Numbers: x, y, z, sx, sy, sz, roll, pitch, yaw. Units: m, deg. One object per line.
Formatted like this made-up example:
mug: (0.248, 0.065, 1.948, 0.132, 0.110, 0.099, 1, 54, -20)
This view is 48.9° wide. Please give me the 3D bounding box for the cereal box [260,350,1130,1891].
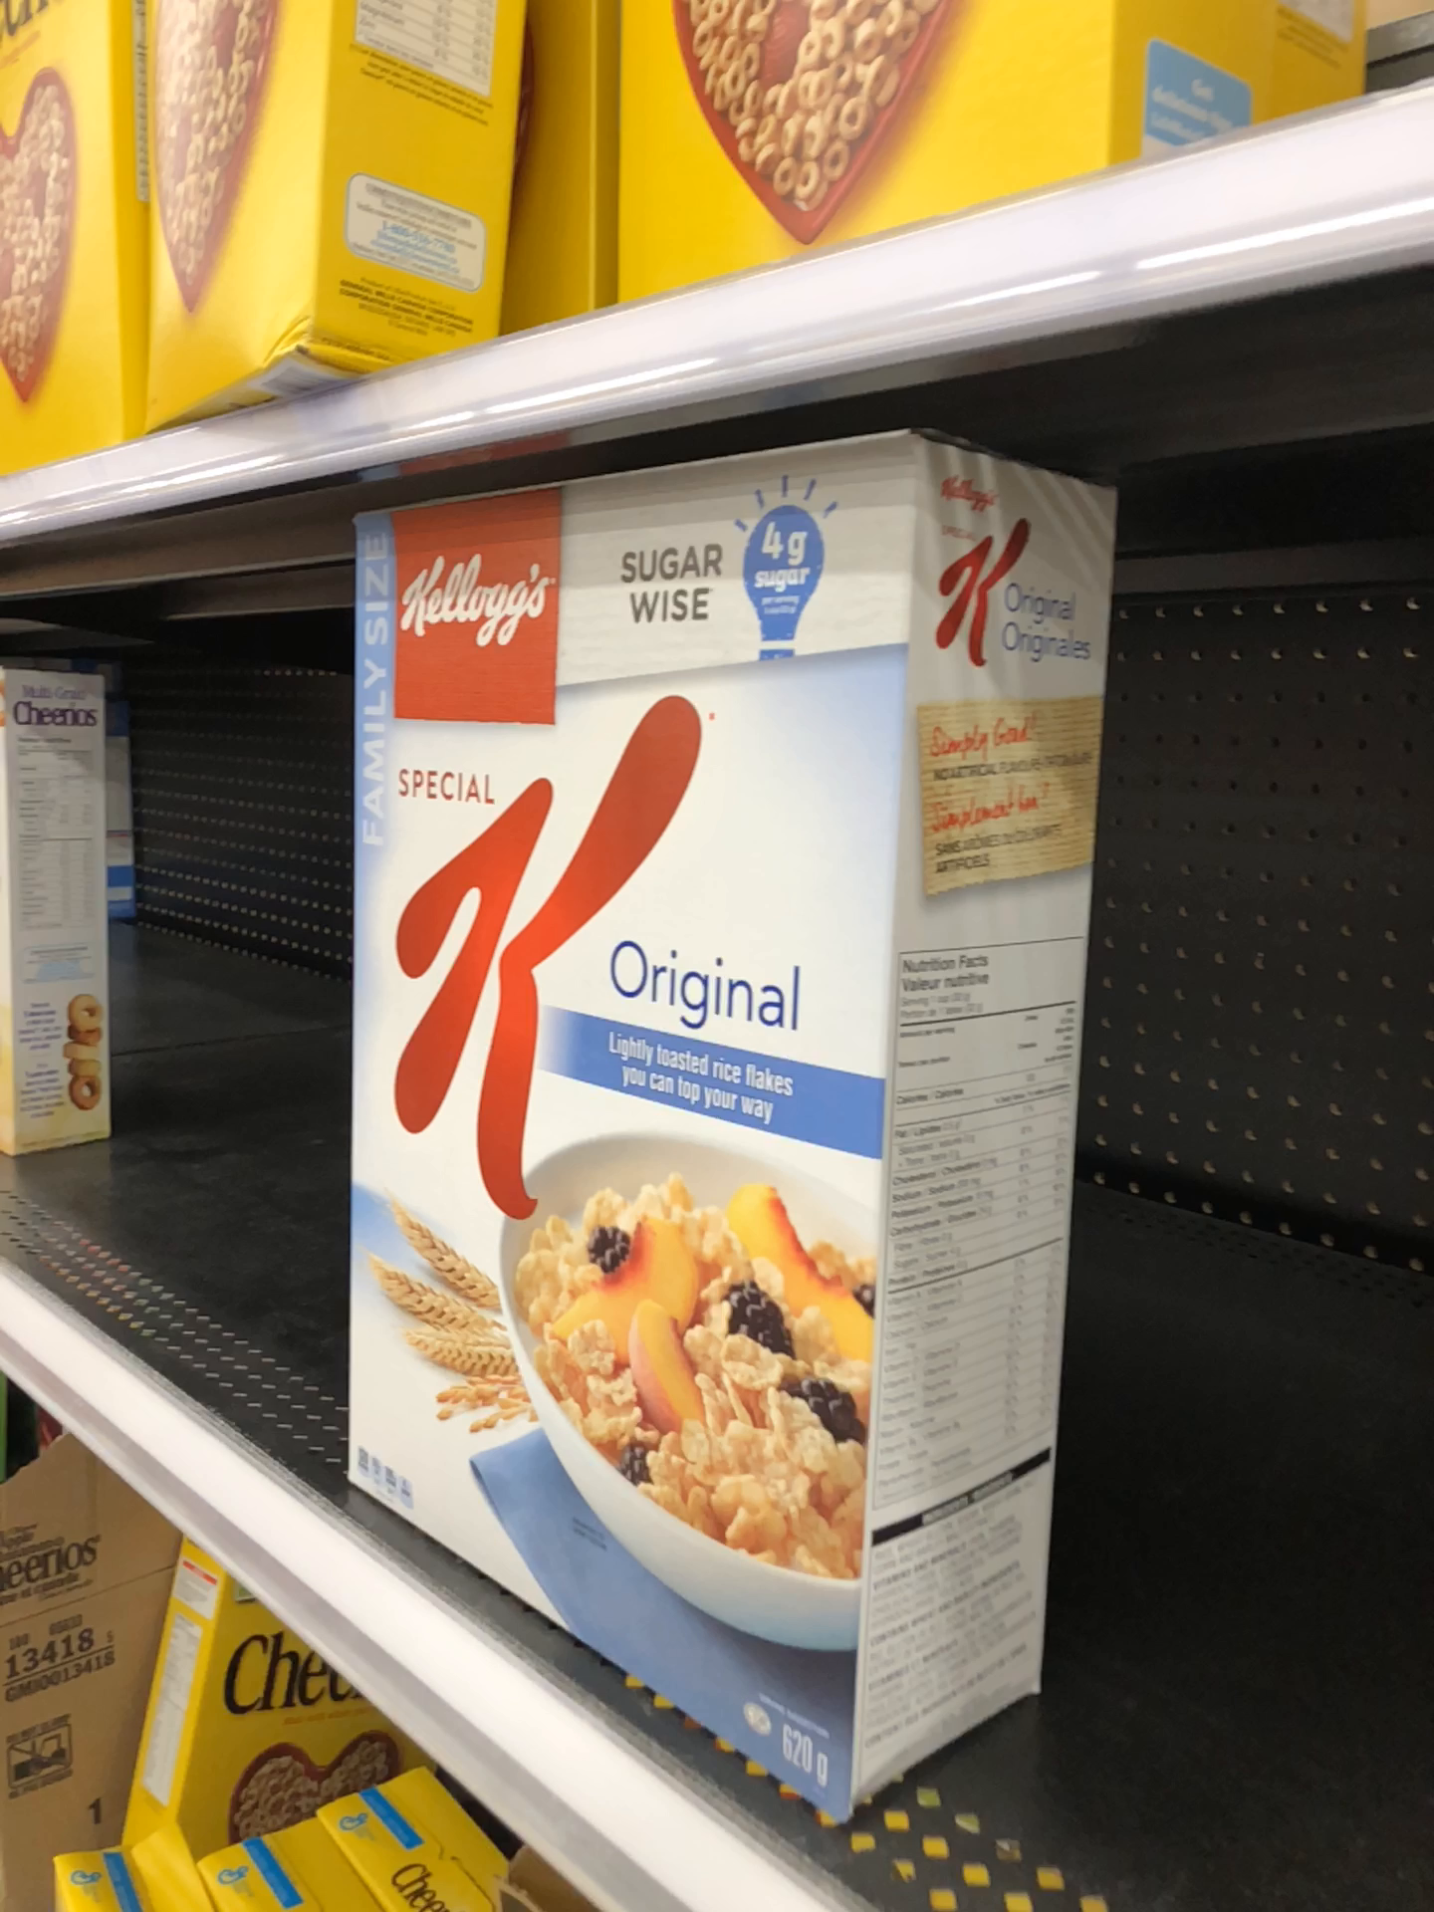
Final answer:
cereal box: (-0.027, 0.025, 0.450, 0.080, 0.329, 0.260, -6, 11, -44)
